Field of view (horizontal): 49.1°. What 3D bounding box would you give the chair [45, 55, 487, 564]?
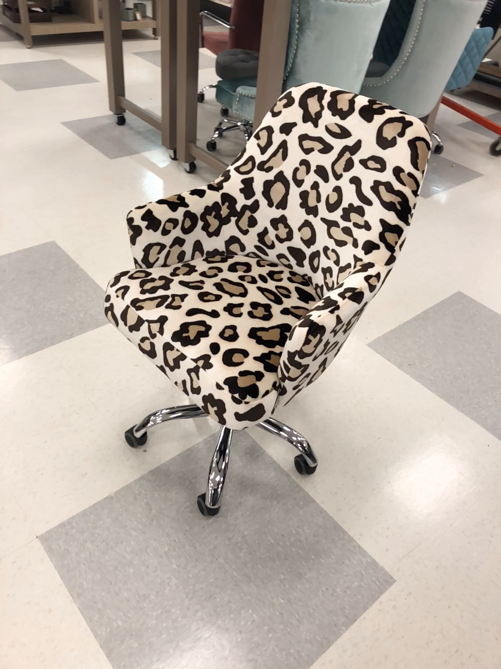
[{"bbox_3d":[-0.012,-0.079,1.305,0.581,0.888,0.601,-26,50,-34],"label":"chair"}]
